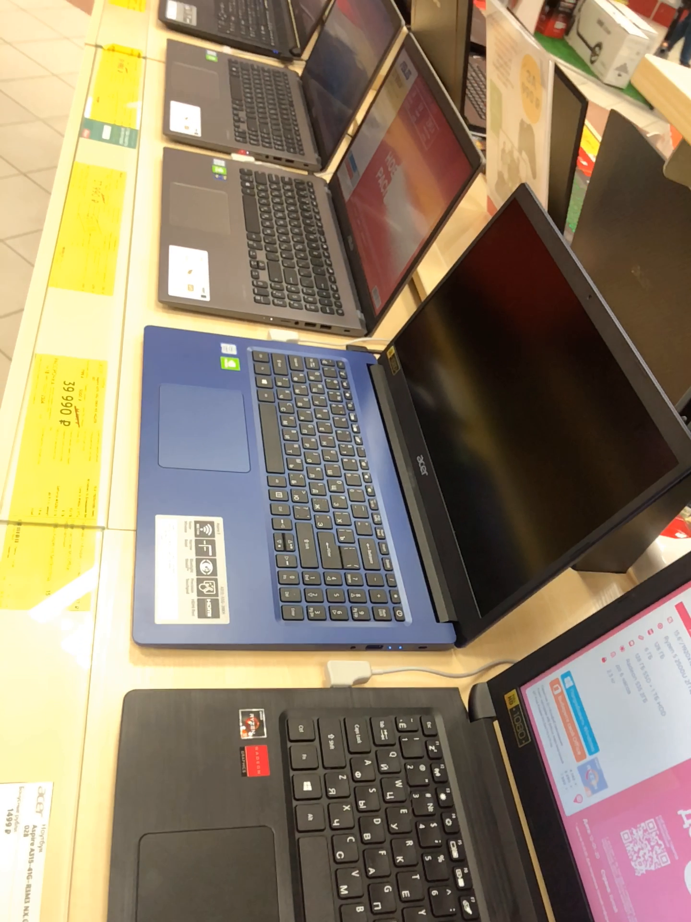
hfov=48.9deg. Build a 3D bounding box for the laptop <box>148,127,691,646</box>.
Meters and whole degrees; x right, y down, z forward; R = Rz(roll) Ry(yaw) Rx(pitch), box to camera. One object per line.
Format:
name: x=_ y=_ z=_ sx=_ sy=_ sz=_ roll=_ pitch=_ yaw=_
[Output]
laptop: x=0.027 y=-0.064 z=0.623 sx=0.327 sy=0.221 sz=0.359 roll=5 pitch=44 yaw=-17
